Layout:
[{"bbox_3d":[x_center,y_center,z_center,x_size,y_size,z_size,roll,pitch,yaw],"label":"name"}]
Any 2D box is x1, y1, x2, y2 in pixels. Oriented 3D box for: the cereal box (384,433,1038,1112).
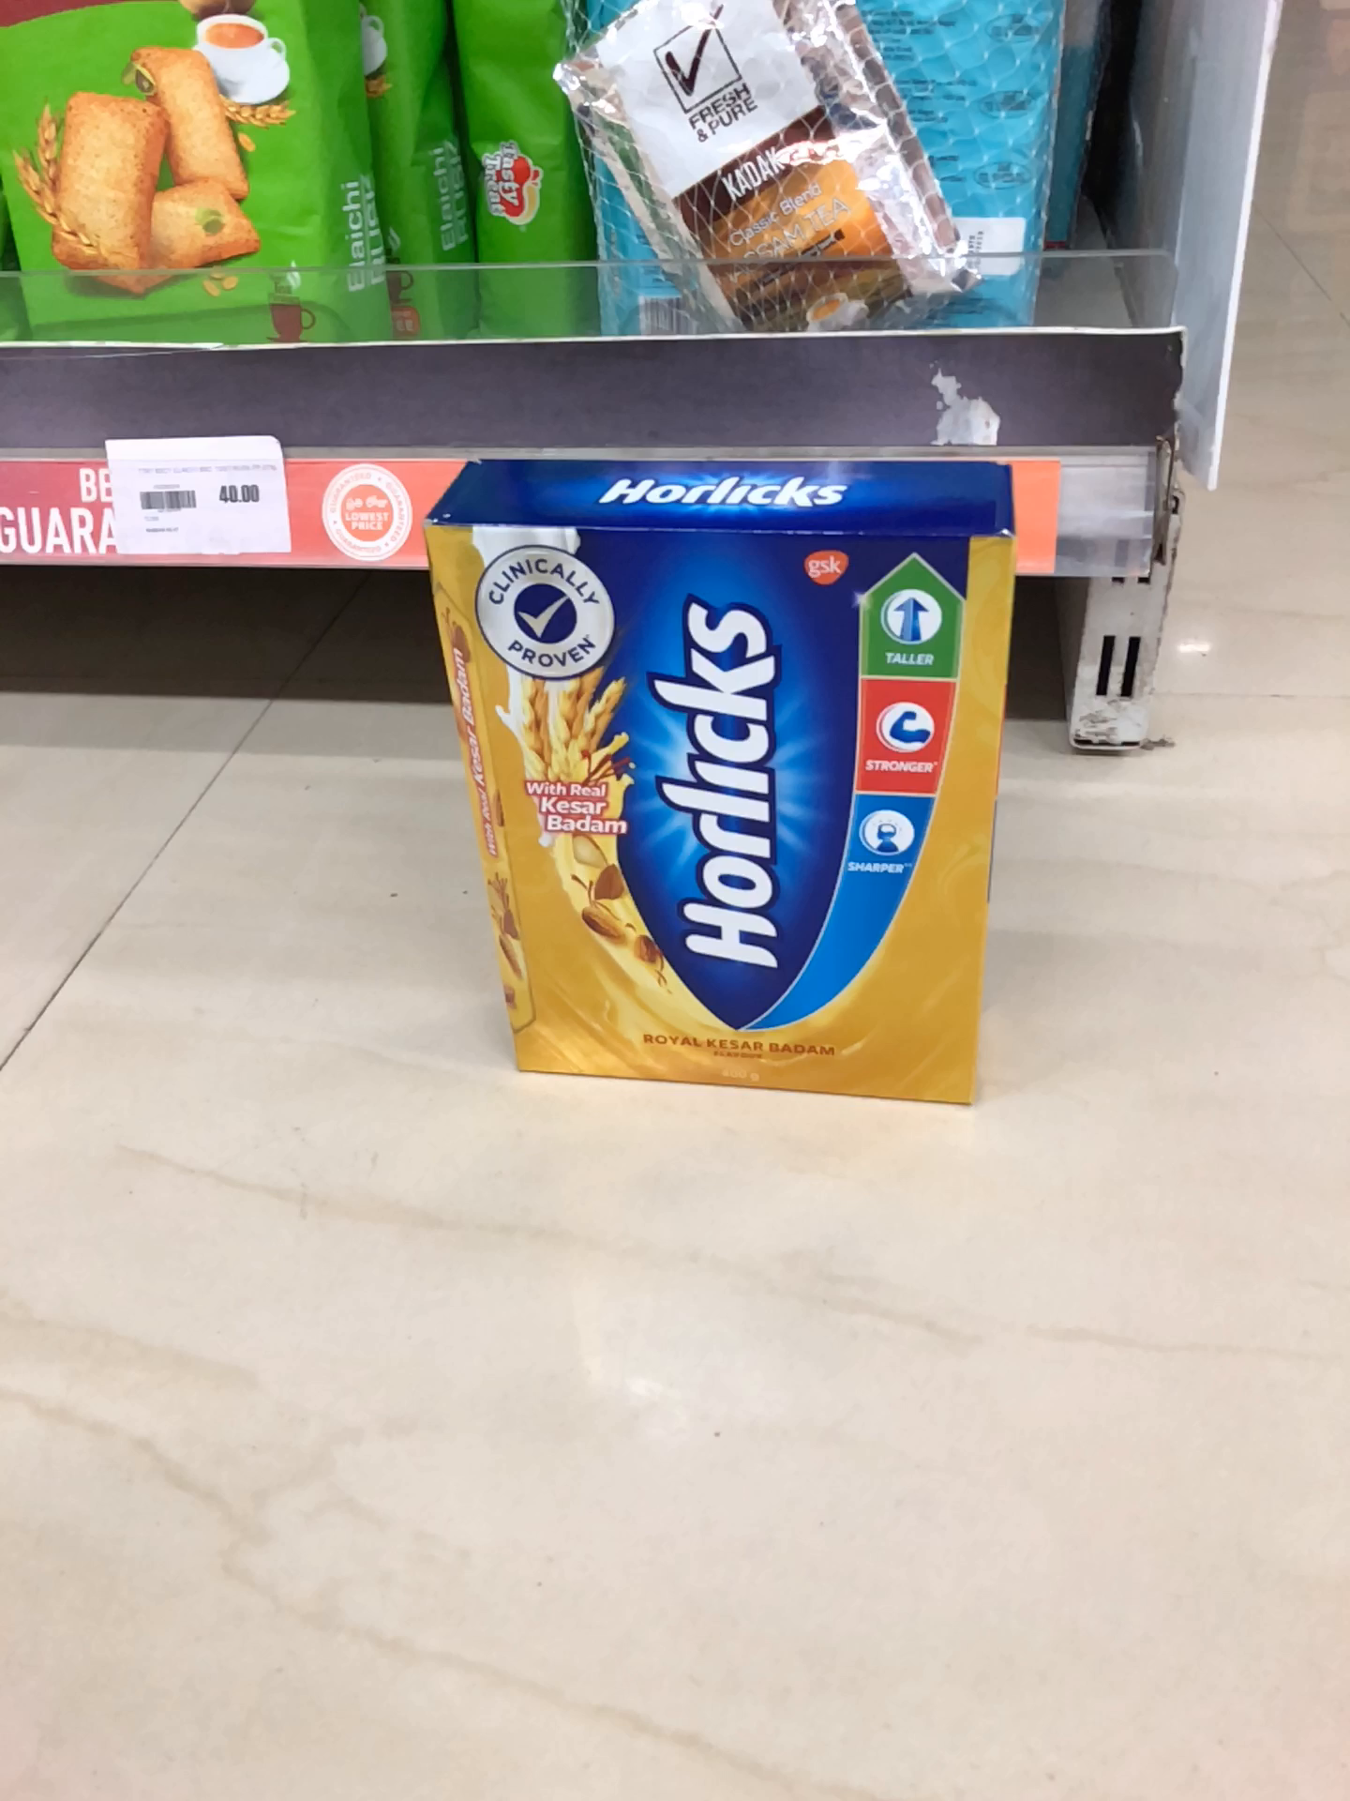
[{"bbox_3d":[0.014,-0.031,0.409,0.150,0.179,0.050,3,36,10],"label":"cereal box"}]
